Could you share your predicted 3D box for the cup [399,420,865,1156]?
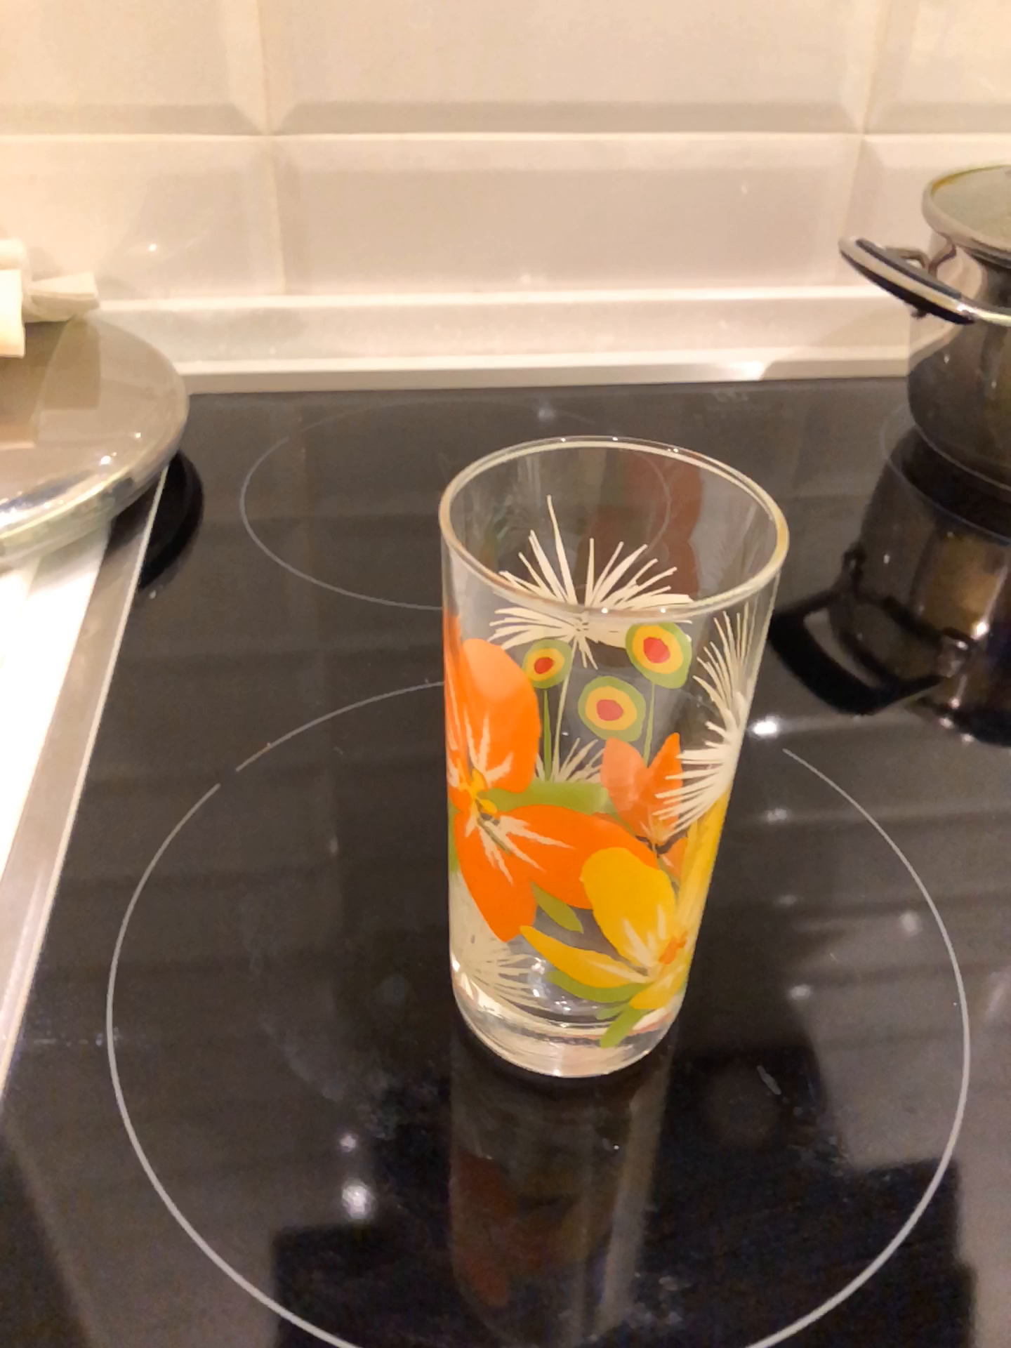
[{"bbox_3d":[0.017,0.027,0.239,0.062,0.138,0.067,1,37,-1],"label":"cup"}]
